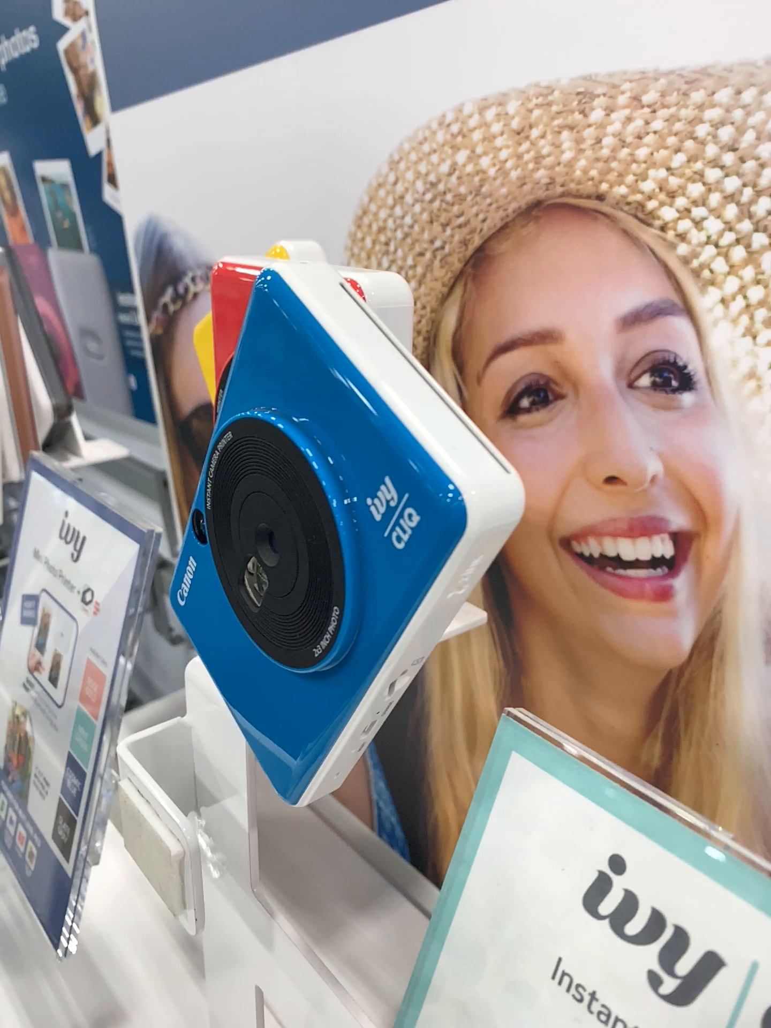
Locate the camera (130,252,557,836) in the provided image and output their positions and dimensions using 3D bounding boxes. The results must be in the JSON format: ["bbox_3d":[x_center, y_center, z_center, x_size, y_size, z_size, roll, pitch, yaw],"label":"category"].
[{"bbox_3d":[-0.022,0.012,0.189,0.030,0.113,0.078,-18,58,-38],"label":"camera"}]

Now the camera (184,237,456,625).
[{"bbox_3d":[-0.027,-0.025,0.292,0.030,0.123,0.068,-22,1,-30],"label":"camera"}]

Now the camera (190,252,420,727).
[{"bbox_3d":[-0.023,-0.010,0.239,0.030,0.123,0.067,-17,27,-31],"label":"camera"}]
